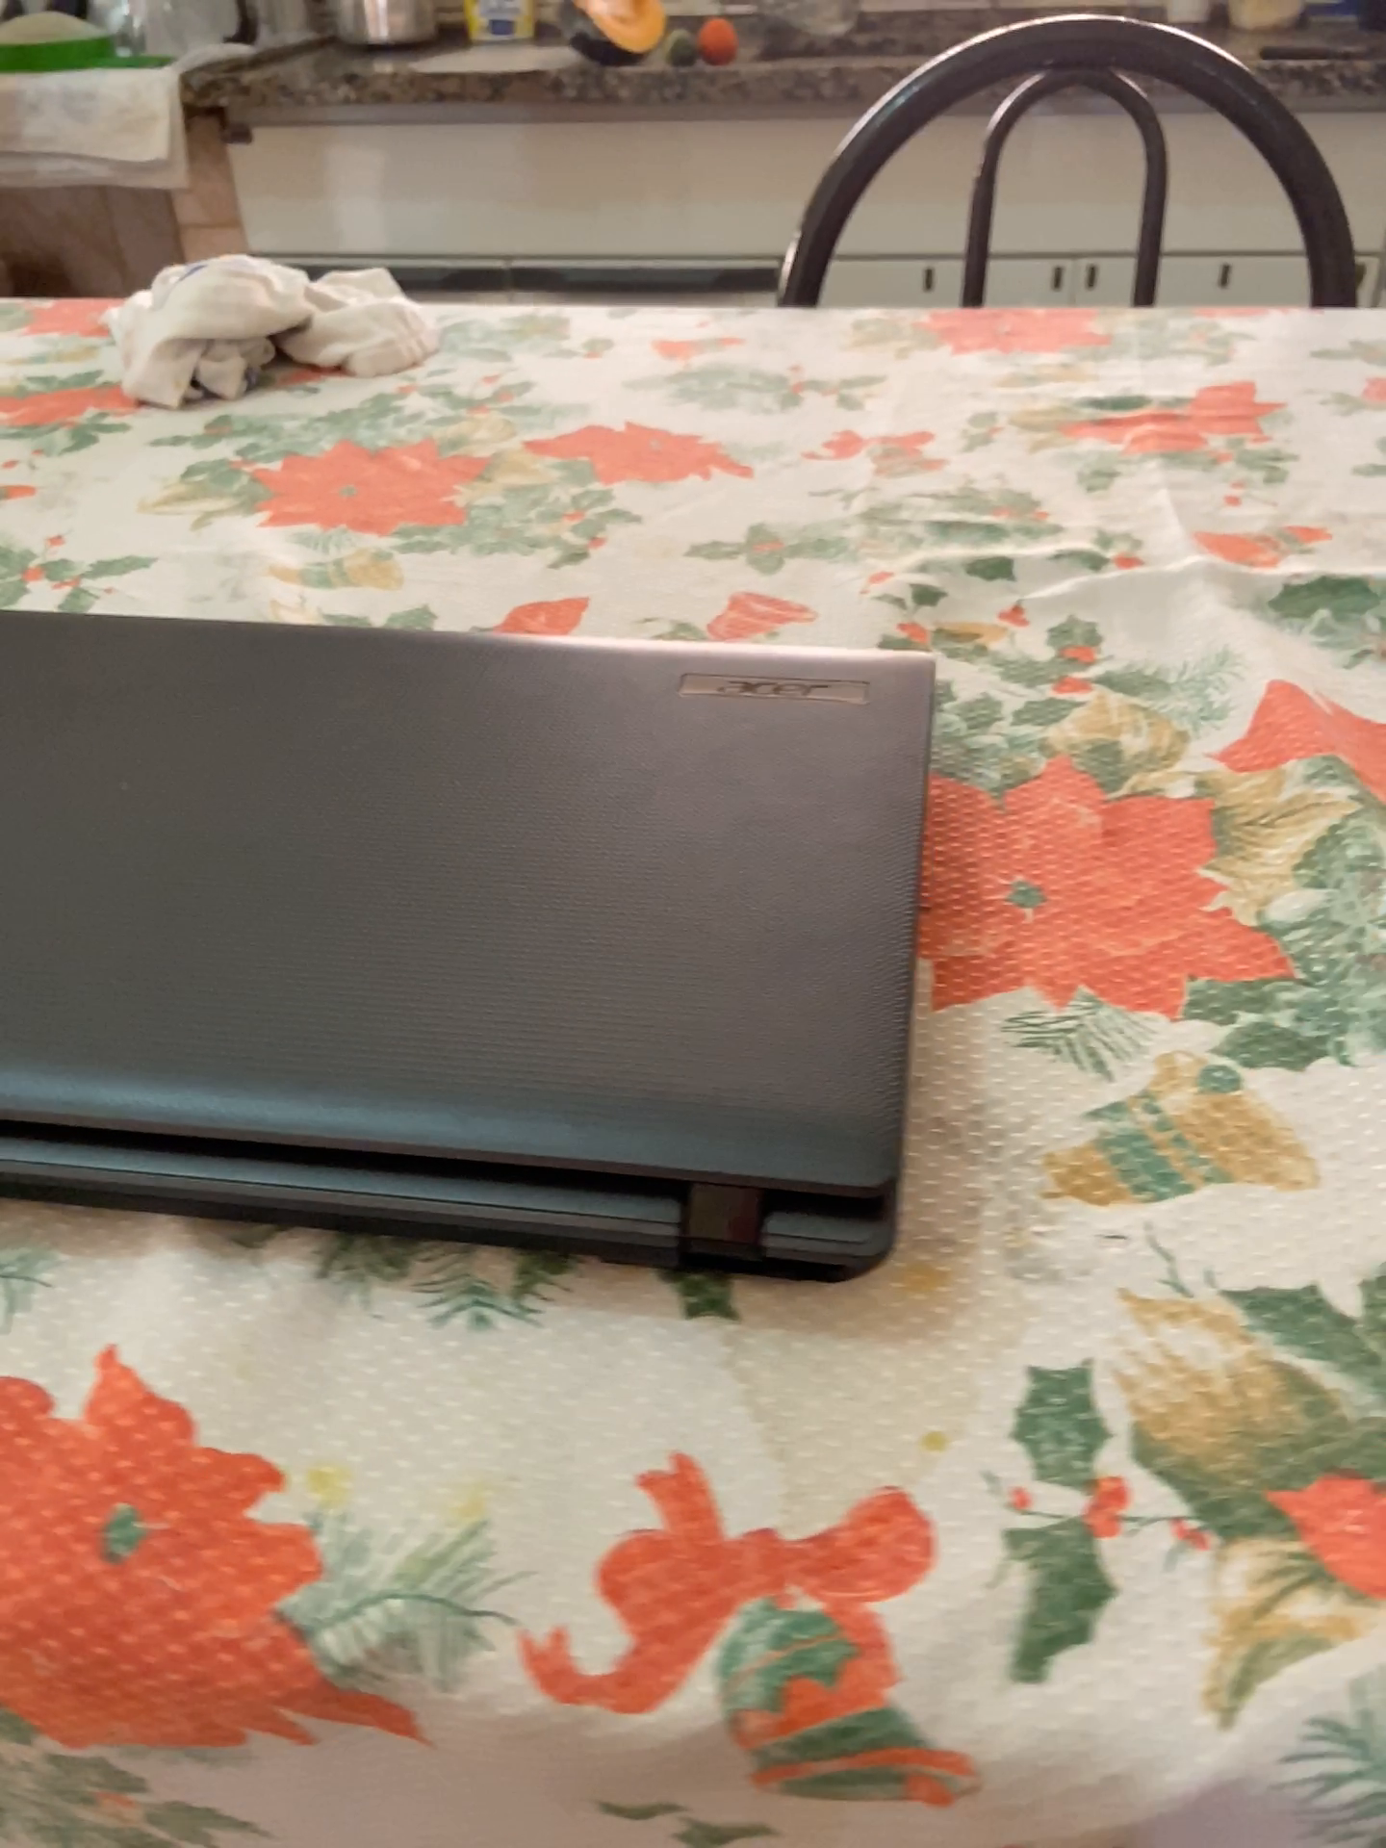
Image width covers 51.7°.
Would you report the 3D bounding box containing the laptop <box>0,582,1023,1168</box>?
[{"bbox_3d":[-0.092,-0.036,0.385,0.350,0.001,0.224,5,38,8],"label":"laptop"}]
